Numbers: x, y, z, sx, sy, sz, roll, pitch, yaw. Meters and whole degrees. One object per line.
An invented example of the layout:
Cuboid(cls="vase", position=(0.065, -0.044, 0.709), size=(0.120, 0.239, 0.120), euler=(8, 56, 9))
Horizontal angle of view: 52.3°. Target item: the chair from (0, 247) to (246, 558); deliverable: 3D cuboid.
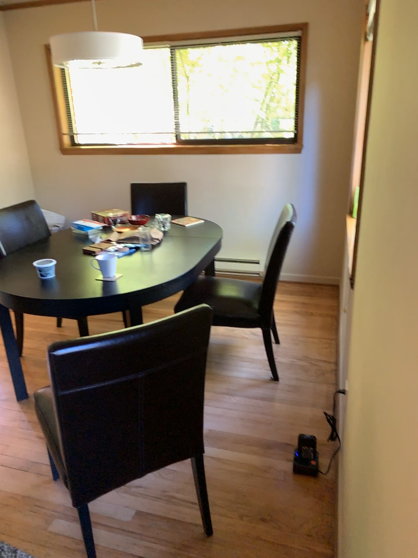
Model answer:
Cuboid(cls="chair", position=(-0.307, 0.539, 1.546), size=(0.620, 1.084, 0.653), euler=(-13, 24, -27))
